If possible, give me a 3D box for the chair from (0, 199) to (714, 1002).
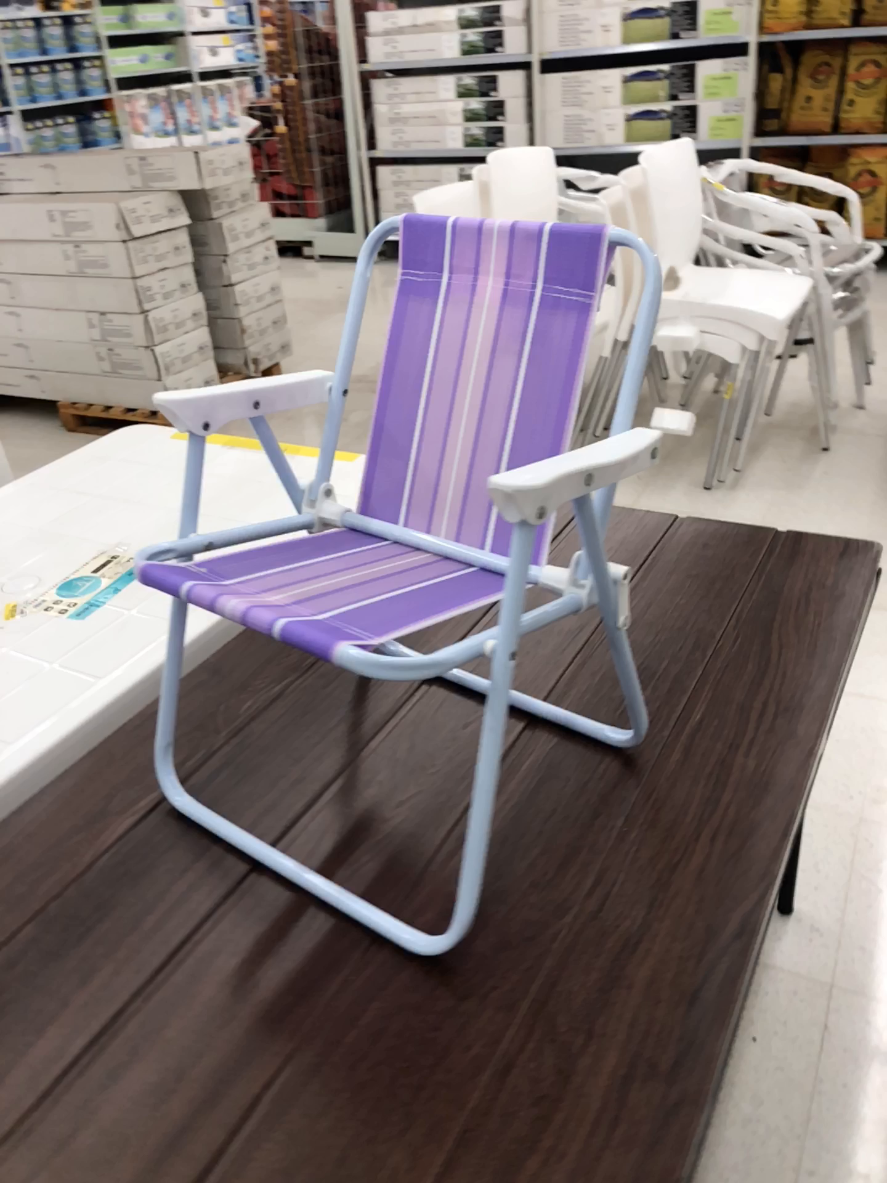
[{"bbox_3d":[-0.073,-0.053,0.798,0.421,0.437,0.392,18,36,35],"label":"chair"}]
